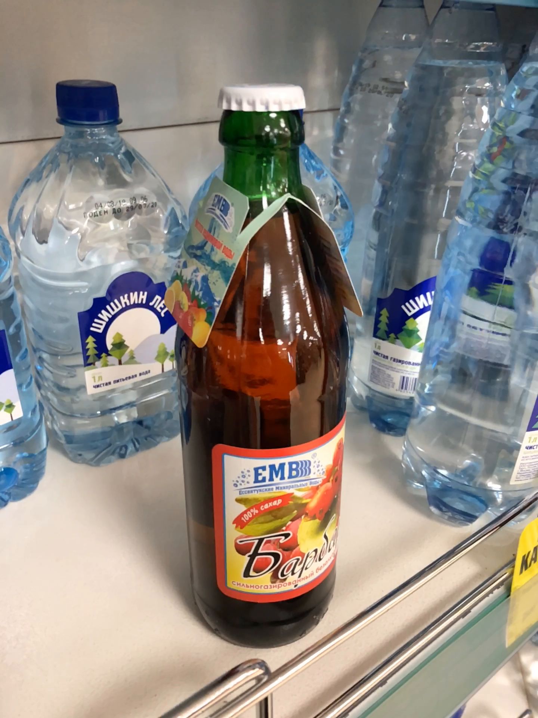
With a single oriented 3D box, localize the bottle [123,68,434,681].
[{"bbox_3d":[0.002,0.014,0.231,0.073,0.222,0.057,-19,34,-30],"label":"bottle"}]
